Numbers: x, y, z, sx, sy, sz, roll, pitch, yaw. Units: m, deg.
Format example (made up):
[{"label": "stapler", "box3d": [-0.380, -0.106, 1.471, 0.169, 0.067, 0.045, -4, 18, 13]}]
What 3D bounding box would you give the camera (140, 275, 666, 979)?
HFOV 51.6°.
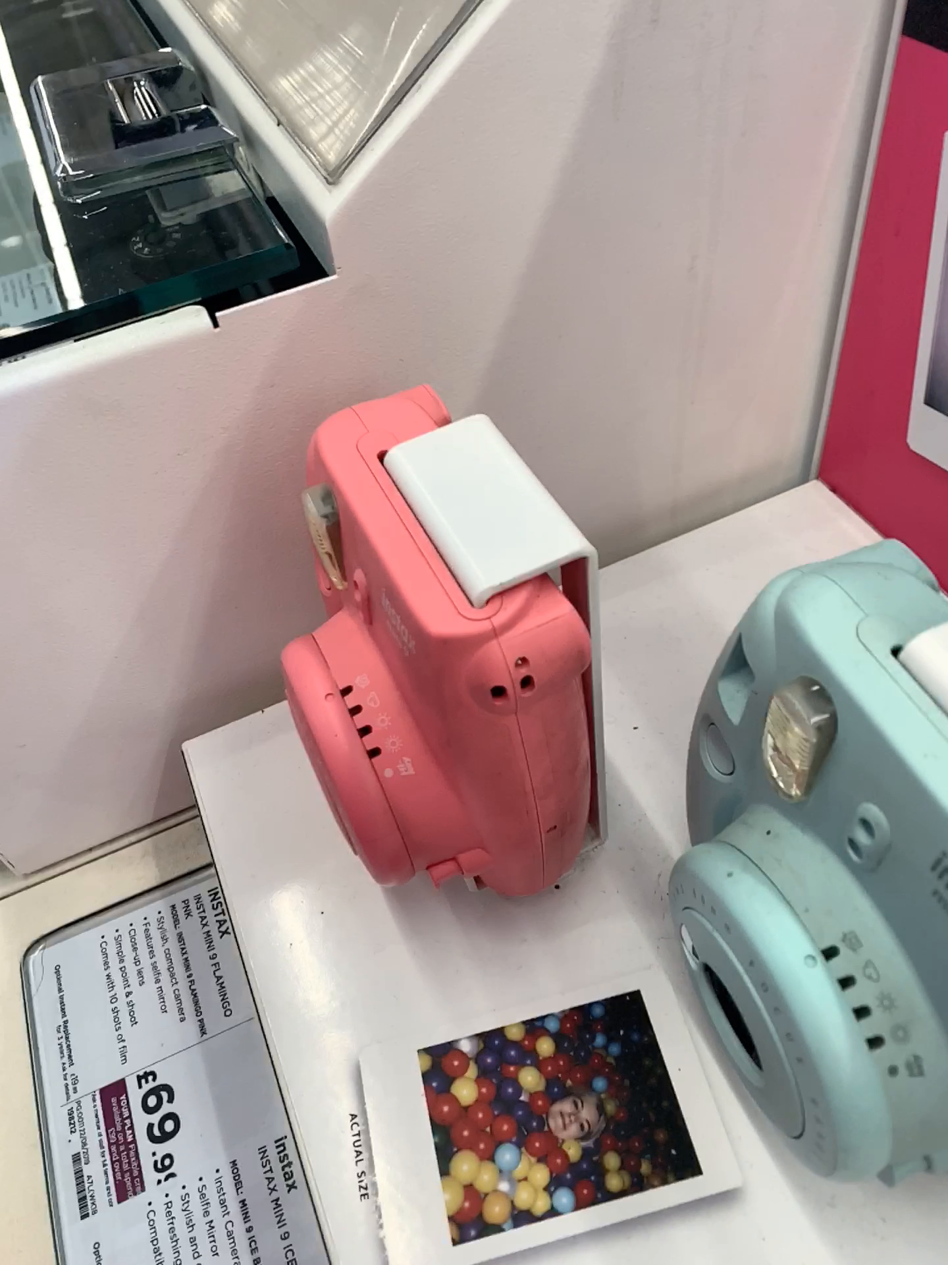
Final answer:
[{"label": "camera", "box3d": [-0.017, -0.002, 0.261, 0.080, 0.119, 0.121, -22, 50, -11]}]
